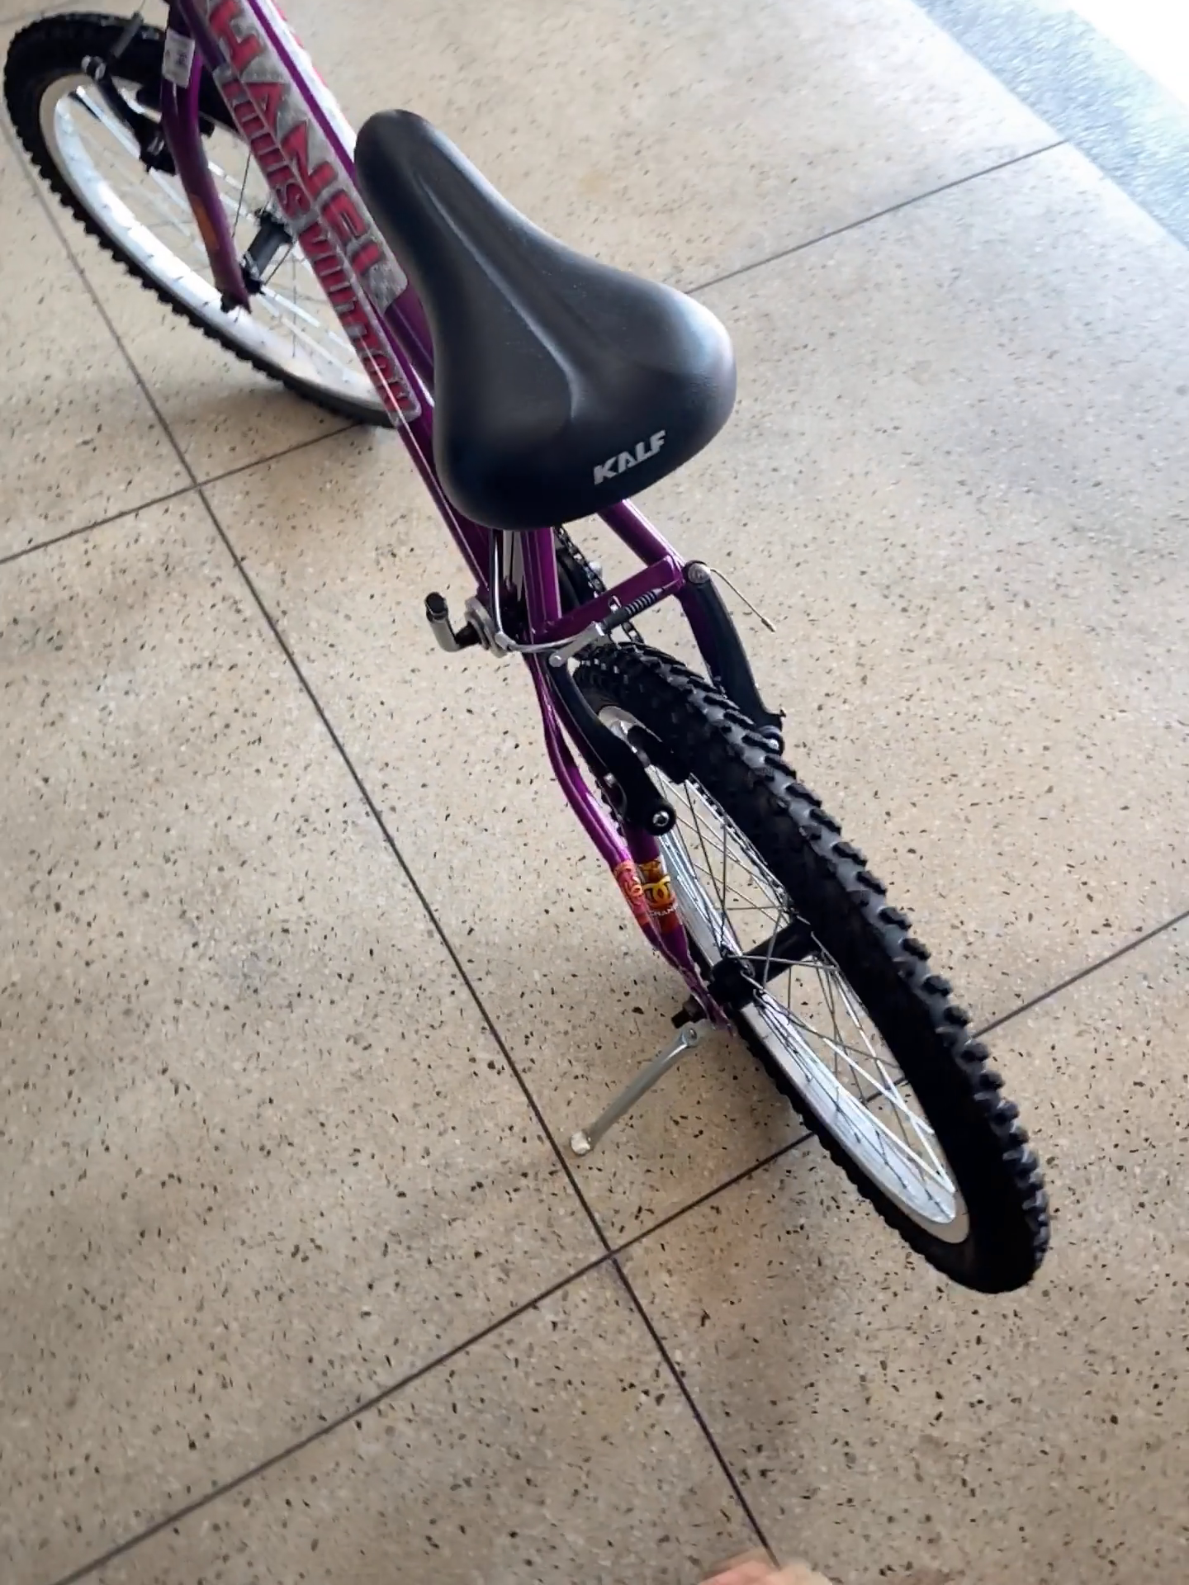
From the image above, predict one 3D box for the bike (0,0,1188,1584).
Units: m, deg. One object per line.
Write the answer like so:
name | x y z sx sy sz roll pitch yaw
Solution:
bike | -0.149 -0.222 0.796 0.616 0.937 1.263 -34 67 -16
